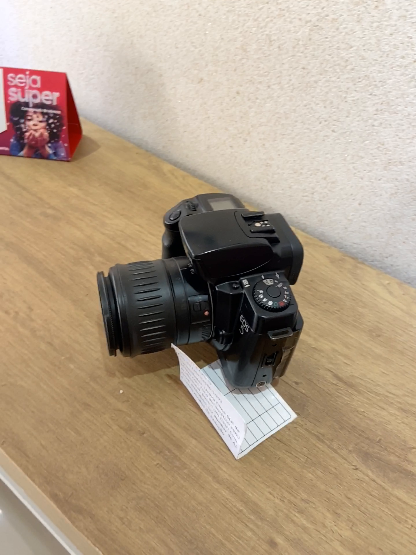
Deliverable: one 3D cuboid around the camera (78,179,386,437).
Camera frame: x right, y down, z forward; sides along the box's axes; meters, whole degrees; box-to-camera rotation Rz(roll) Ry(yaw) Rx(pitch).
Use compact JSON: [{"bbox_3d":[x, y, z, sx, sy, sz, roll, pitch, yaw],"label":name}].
[{"bbox_3d":[0.006,0.009,0.346,0.180,0.079,0.161,-12,47,-18],"label":"camera"}]
